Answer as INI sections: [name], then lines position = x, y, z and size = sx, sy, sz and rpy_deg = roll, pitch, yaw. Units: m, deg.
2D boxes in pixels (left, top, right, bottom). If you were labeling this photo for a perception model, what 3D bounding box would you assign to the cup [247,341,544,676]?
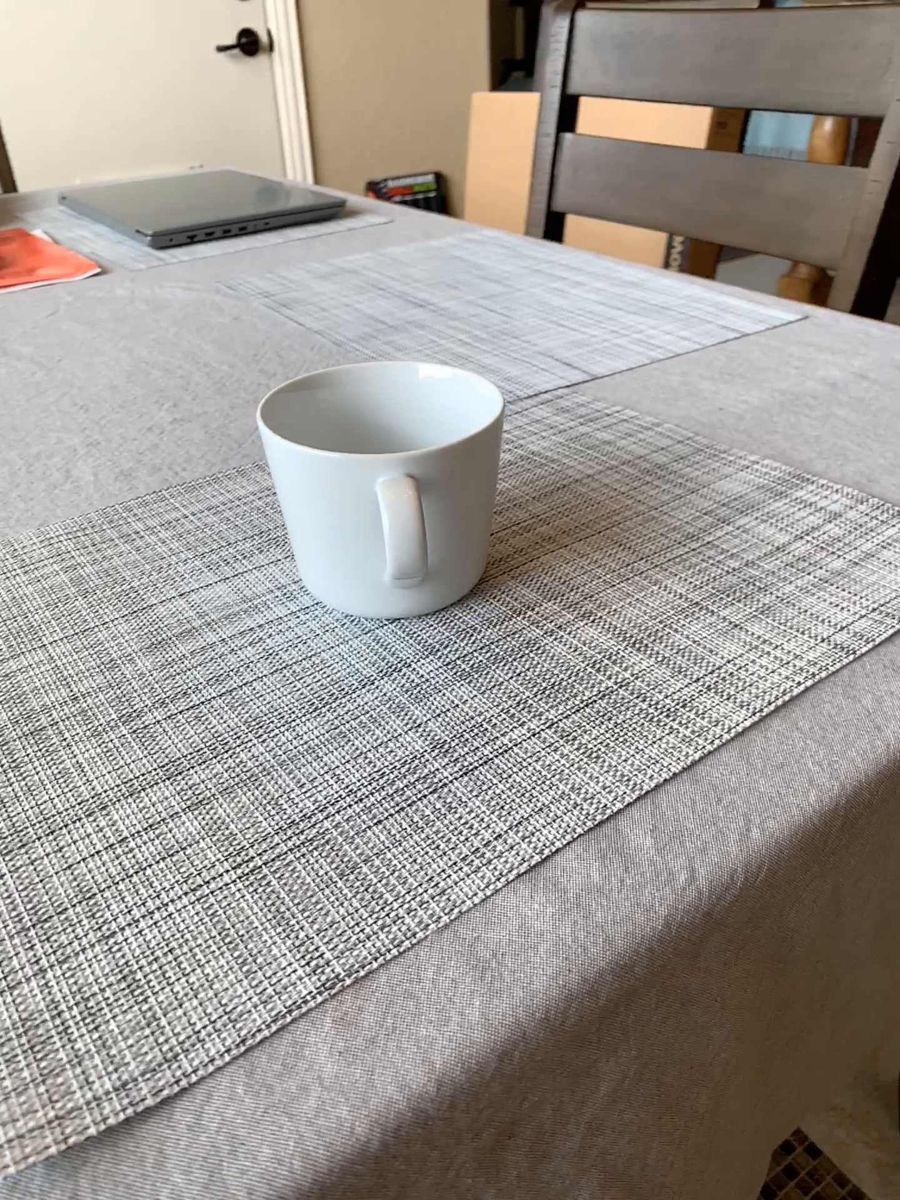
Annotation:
[cup]
position = -0.027, -0.045, 0.386
size = 0.100, 0.081, 0.122
rpy_deg = -8, 33, -8
